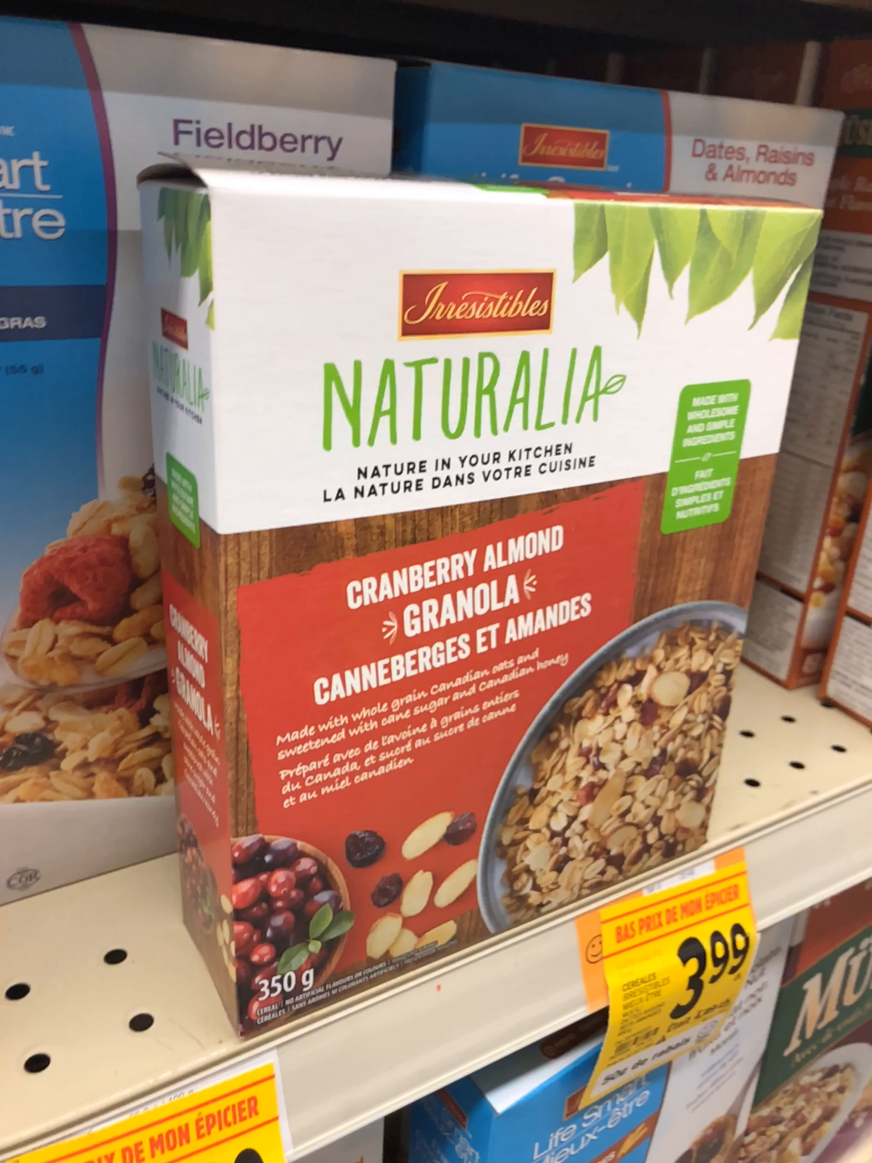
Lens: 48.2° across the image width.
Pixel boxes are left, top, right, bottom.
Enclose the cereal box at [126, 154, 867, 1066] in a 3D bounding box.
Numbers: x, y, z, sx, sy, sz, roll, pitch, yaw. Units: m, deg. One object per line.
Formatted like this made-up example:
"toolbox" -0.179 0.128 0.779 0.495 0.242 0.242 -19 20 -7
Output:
"cereal box" 0.014 0.001 0.270 0.170 0.209 0.060 -11 28 -30
